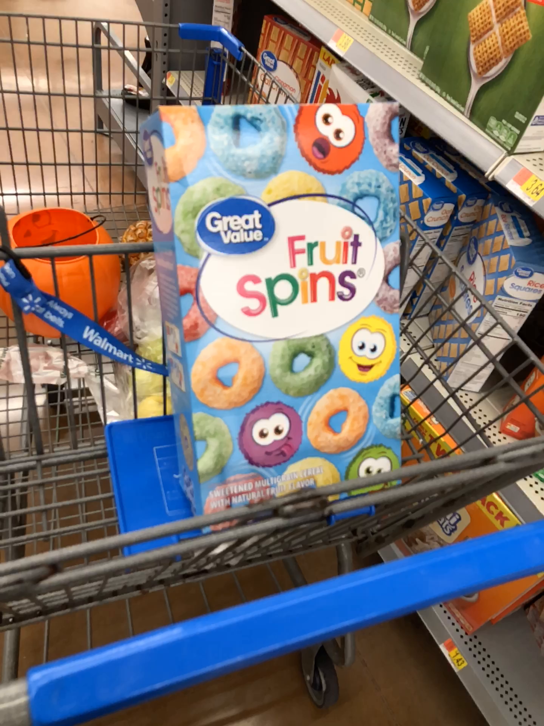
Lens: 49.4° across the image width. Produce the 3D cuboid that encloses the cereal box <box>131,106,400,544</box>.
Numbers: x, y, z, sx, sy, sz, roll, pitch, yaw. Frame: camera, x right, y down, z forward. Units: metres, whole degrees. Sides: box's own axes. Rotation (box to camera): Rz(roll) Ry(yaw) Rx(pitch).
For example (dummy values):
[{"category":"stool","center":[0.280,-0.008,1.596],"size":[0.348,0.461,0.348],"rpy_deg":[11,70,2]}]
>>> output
[{"category":"cereal box","center":[0.002,-0.037,0.525],"size":[0.200,0.340,0.090],"rpy_deg":[-9,17,-21]}]
